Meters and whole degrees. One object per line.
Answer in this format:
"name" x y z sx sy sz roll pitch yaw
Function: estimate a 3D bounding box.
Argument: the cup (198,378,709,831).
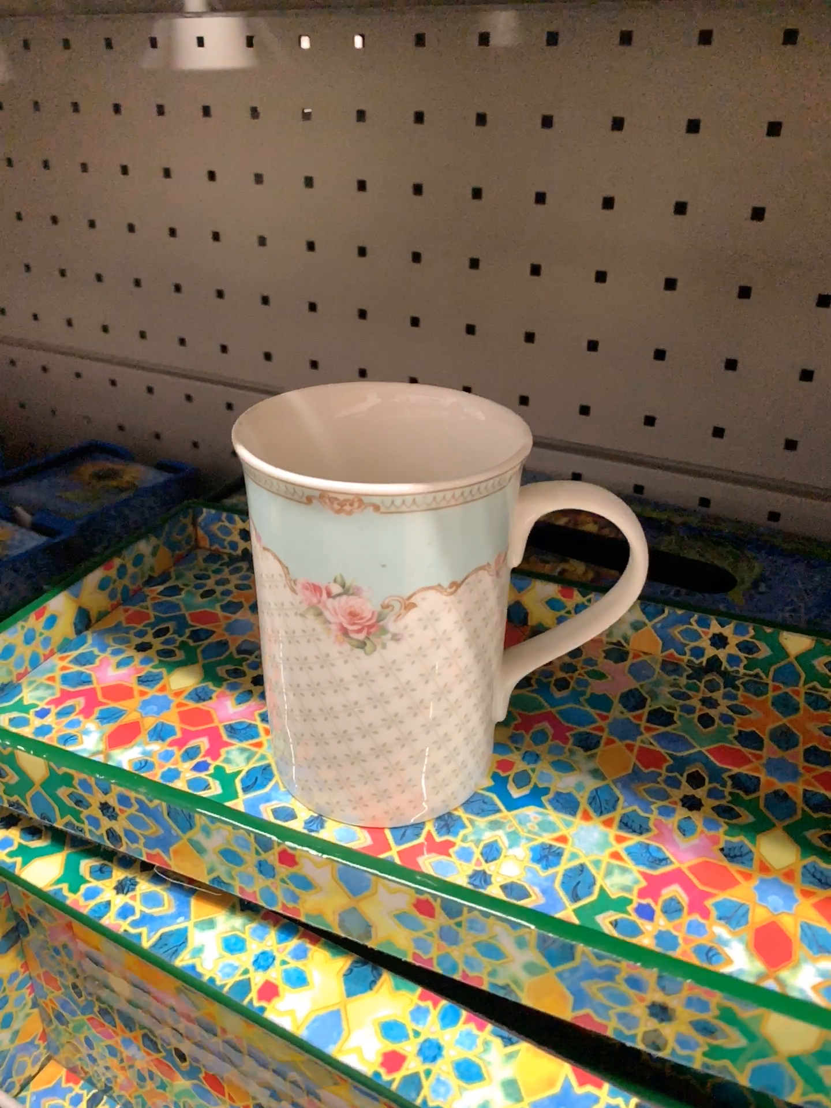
"cup" 0.007 0.011 0.243 0.110 0.100 0.080 0 28 -2
